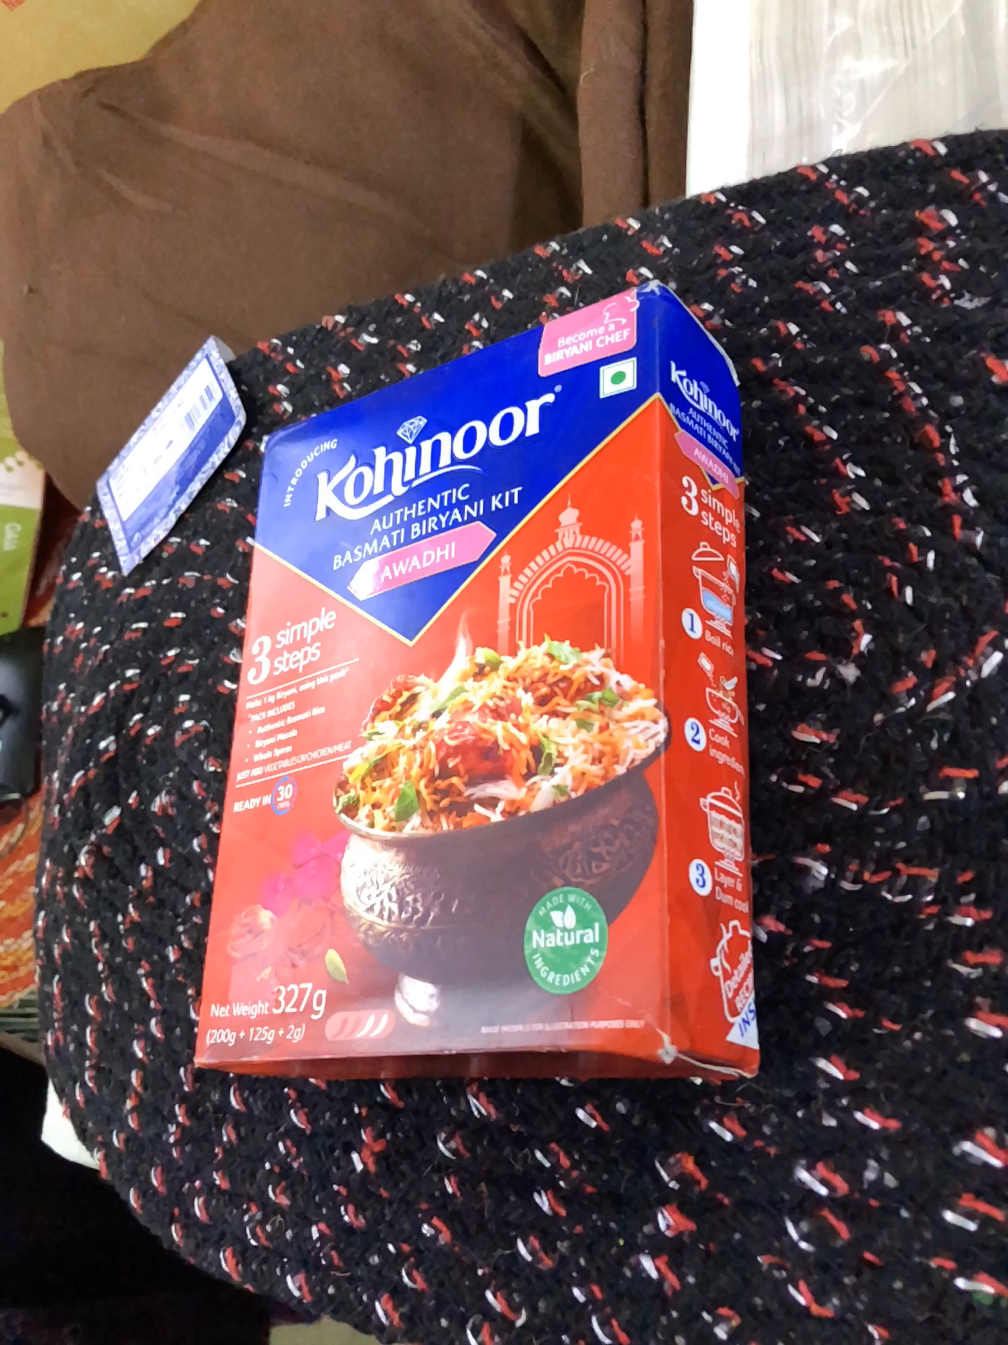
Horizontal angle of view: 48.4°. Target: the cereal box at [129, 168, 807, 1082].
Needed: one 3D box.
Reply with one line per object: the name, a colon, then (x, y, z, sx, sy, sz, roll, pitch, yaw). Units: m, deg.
cereal box: (-0.013, -0.003, 0.257, 0.140, 0.040, 0.180, -14, 64, 33)
